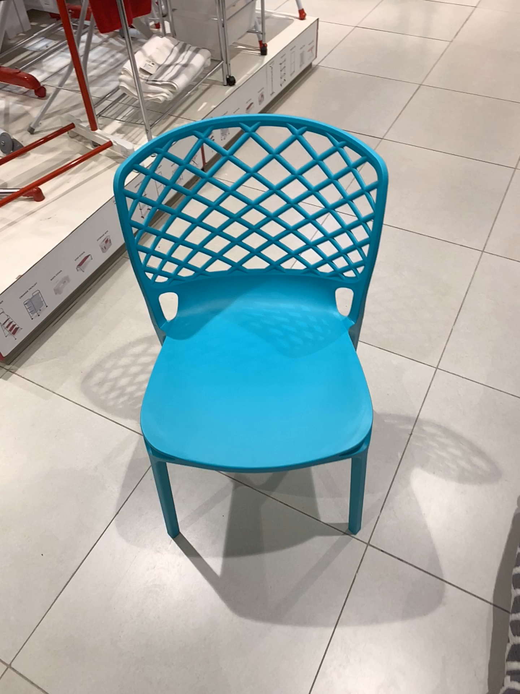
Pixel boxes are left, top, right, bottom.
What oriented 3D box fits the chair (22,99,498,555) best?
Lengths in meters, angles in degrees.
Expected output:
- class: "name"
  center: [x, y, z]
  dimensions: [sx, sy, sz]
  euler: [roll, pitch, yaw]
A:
- class: "chair"
  center: [0.009, 0.019, 1.095]
  dimensions: [0.560, 0.797, 0.522]
  euler: [-2, 50, 1]
